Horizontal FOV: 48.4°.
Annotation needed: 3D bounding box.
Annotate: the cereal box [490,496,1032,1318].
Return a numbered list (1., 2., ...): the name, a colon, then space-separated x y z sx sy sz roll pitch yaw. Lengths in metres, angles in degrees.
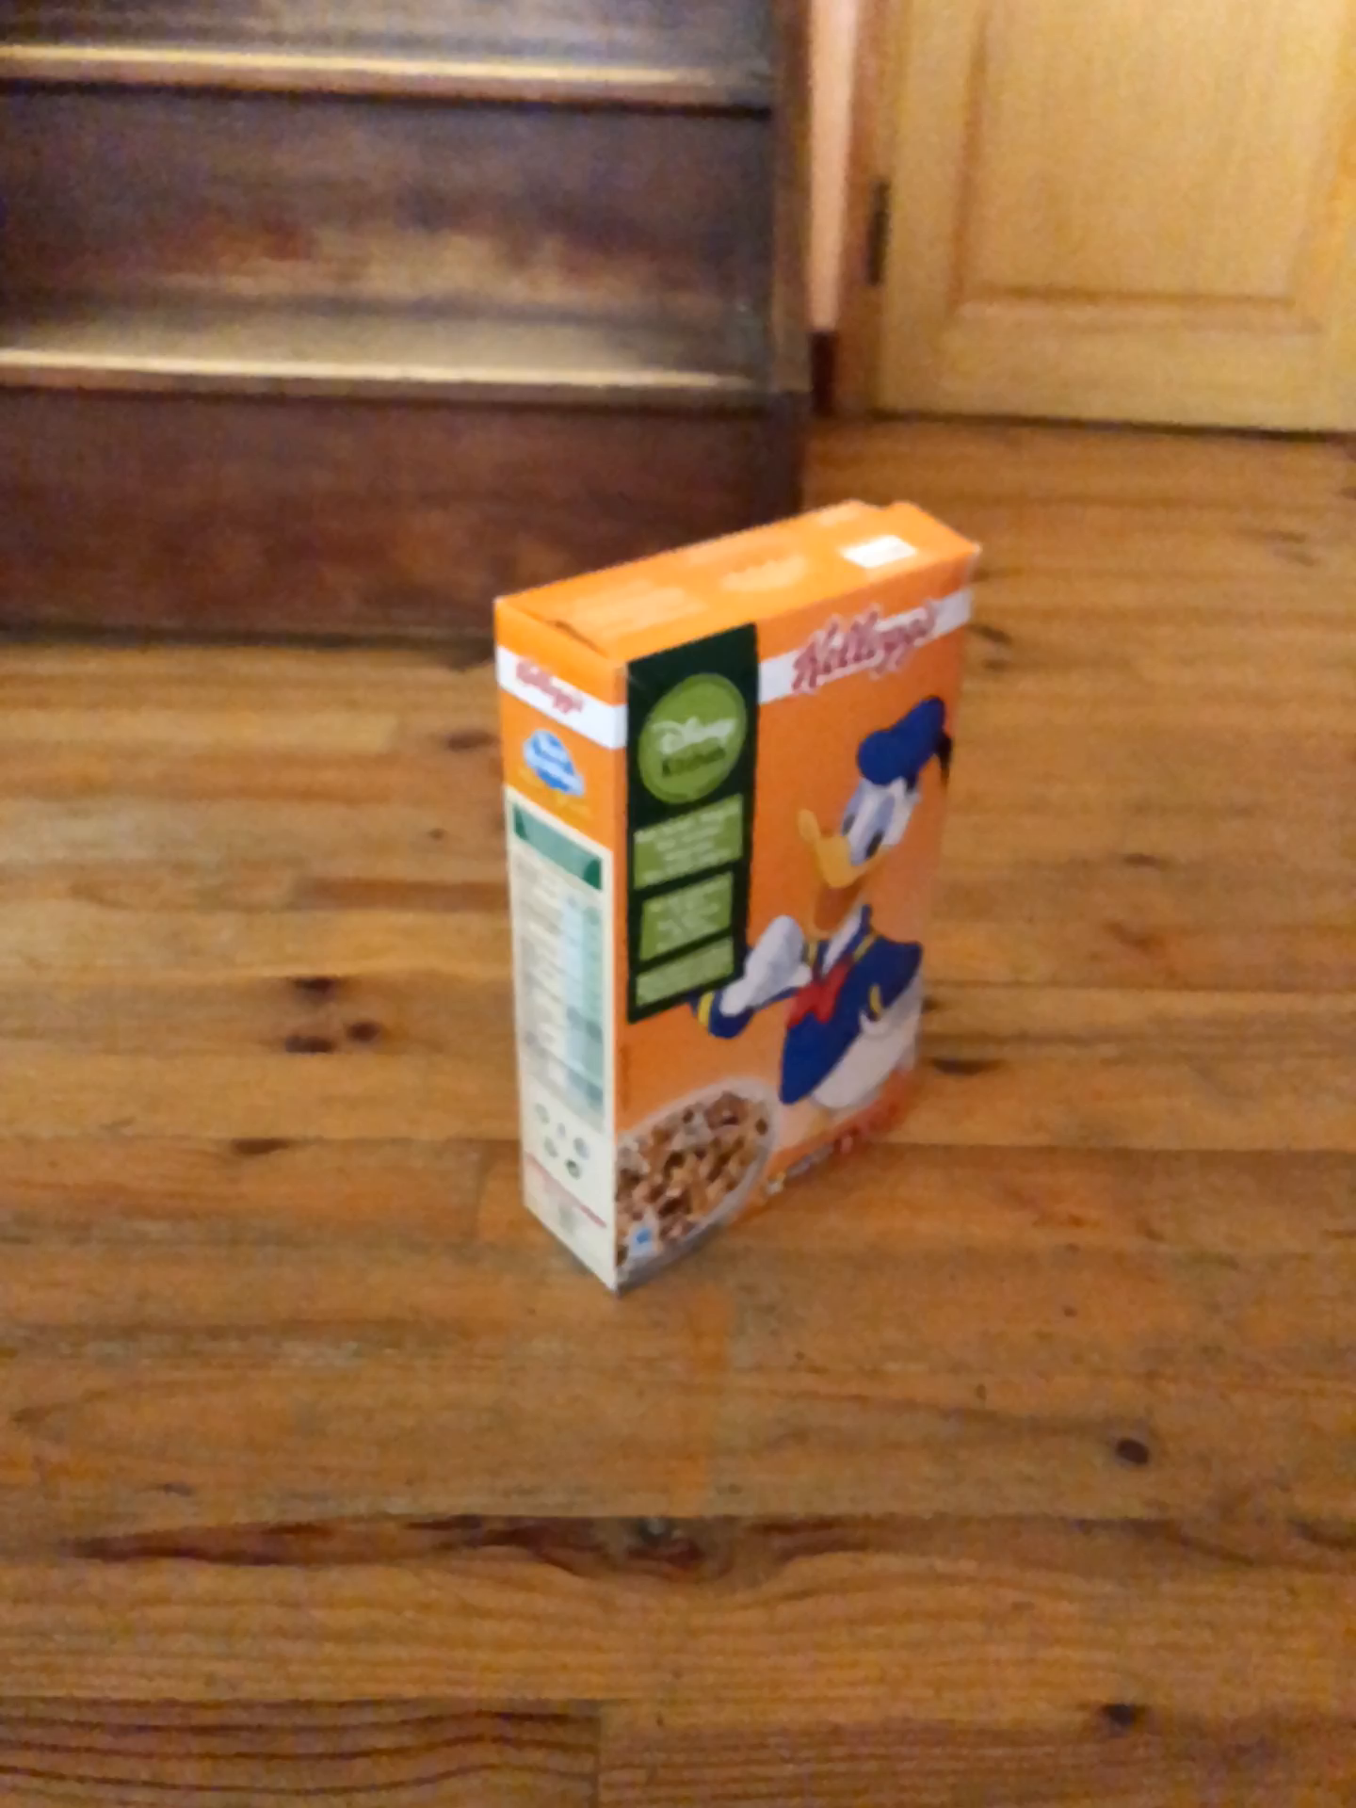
1. cereal box: 0.034 -0.001 0.655 0.201 0.298 0.090 -23 39 -34
